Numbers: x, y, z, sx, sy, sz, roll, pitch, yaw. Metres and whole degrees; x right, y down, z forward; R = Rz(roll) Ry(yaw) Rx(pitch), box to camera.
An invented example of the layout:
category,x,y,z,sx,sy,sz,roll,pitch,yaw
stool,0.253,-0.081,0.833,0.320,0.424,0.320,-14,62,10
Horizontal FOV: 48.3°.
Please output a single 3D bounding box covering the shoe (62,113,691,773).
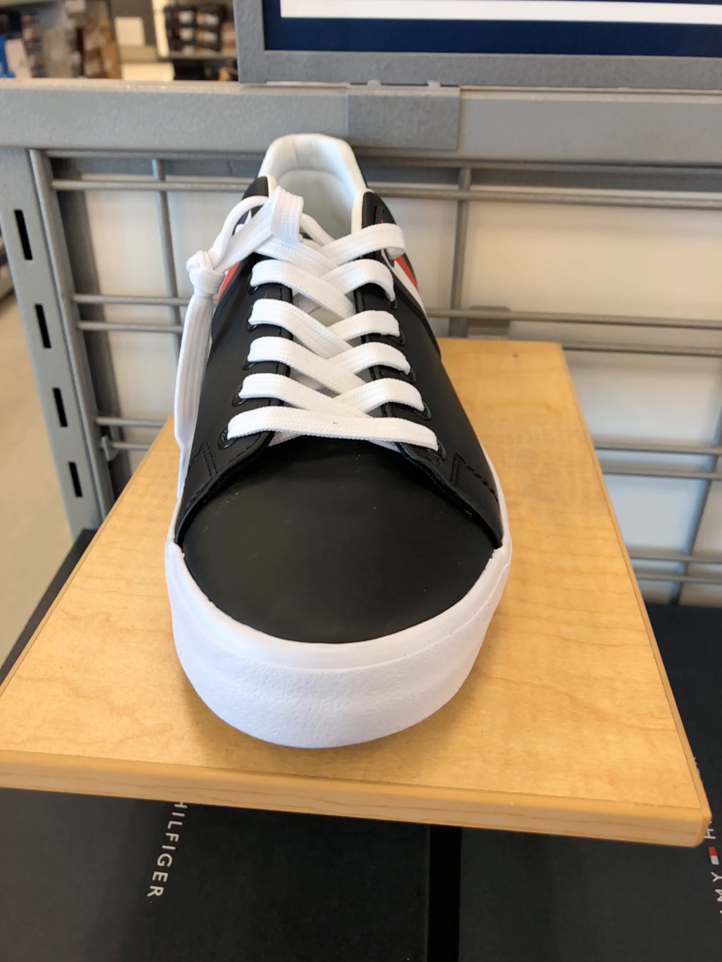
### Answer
category,x,y,z,sx,sy,sz,roll,pitch,yaw
shoe,-0.005,-0.054,0.274,0.100,0.089,0.292,0,32,-3
